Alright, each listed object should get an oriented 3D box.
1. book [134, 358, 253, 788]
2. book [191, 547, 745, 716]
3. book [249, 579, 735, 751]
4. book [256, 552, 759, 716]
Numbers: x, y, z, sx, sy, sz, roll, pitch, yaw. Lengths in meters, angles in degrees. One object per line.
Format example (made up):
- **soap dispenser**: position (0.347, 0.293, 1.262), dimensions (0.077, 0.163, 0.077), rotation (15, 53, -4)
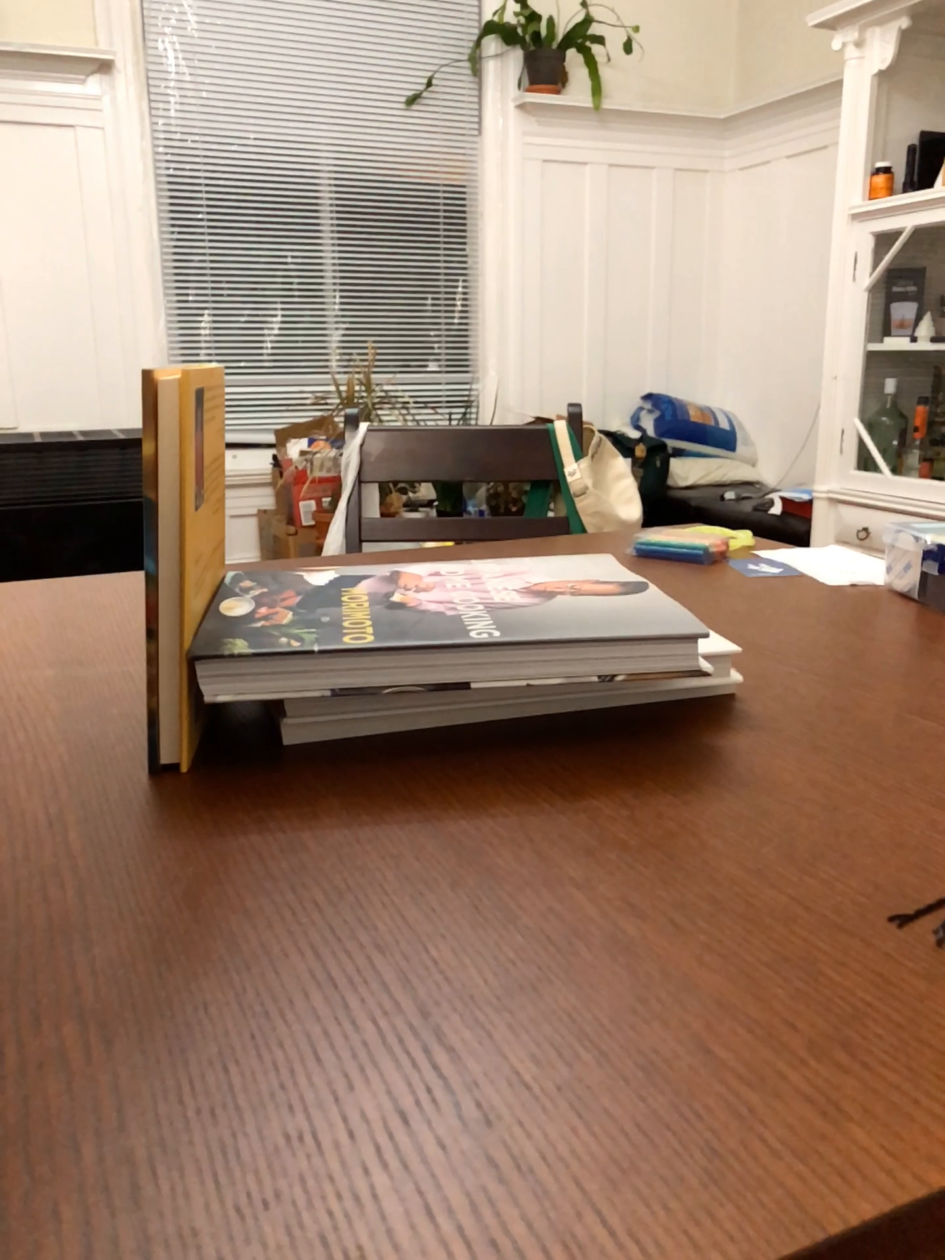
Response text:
- **book**: position (-0.155, -0.049, 0.605), dimensions (0.030, 0.209, 0.211), rotation (0, 15, -7)
- **book**: position (-0.014, -0.009, 0.627), dimensions (0.280, 0.030, 0.221), rotation (-4, 15, -8)
- **book**: position (-0.002, 0.013, 0.714), dimensions (0.280, 0.030, 0.221), rotation (-6, 15, -15)
- **book**: position (0.006, -0.008, 0.683), dimensions (0.280, 0.030, 0.221), rotation (-5, 15, -13)
